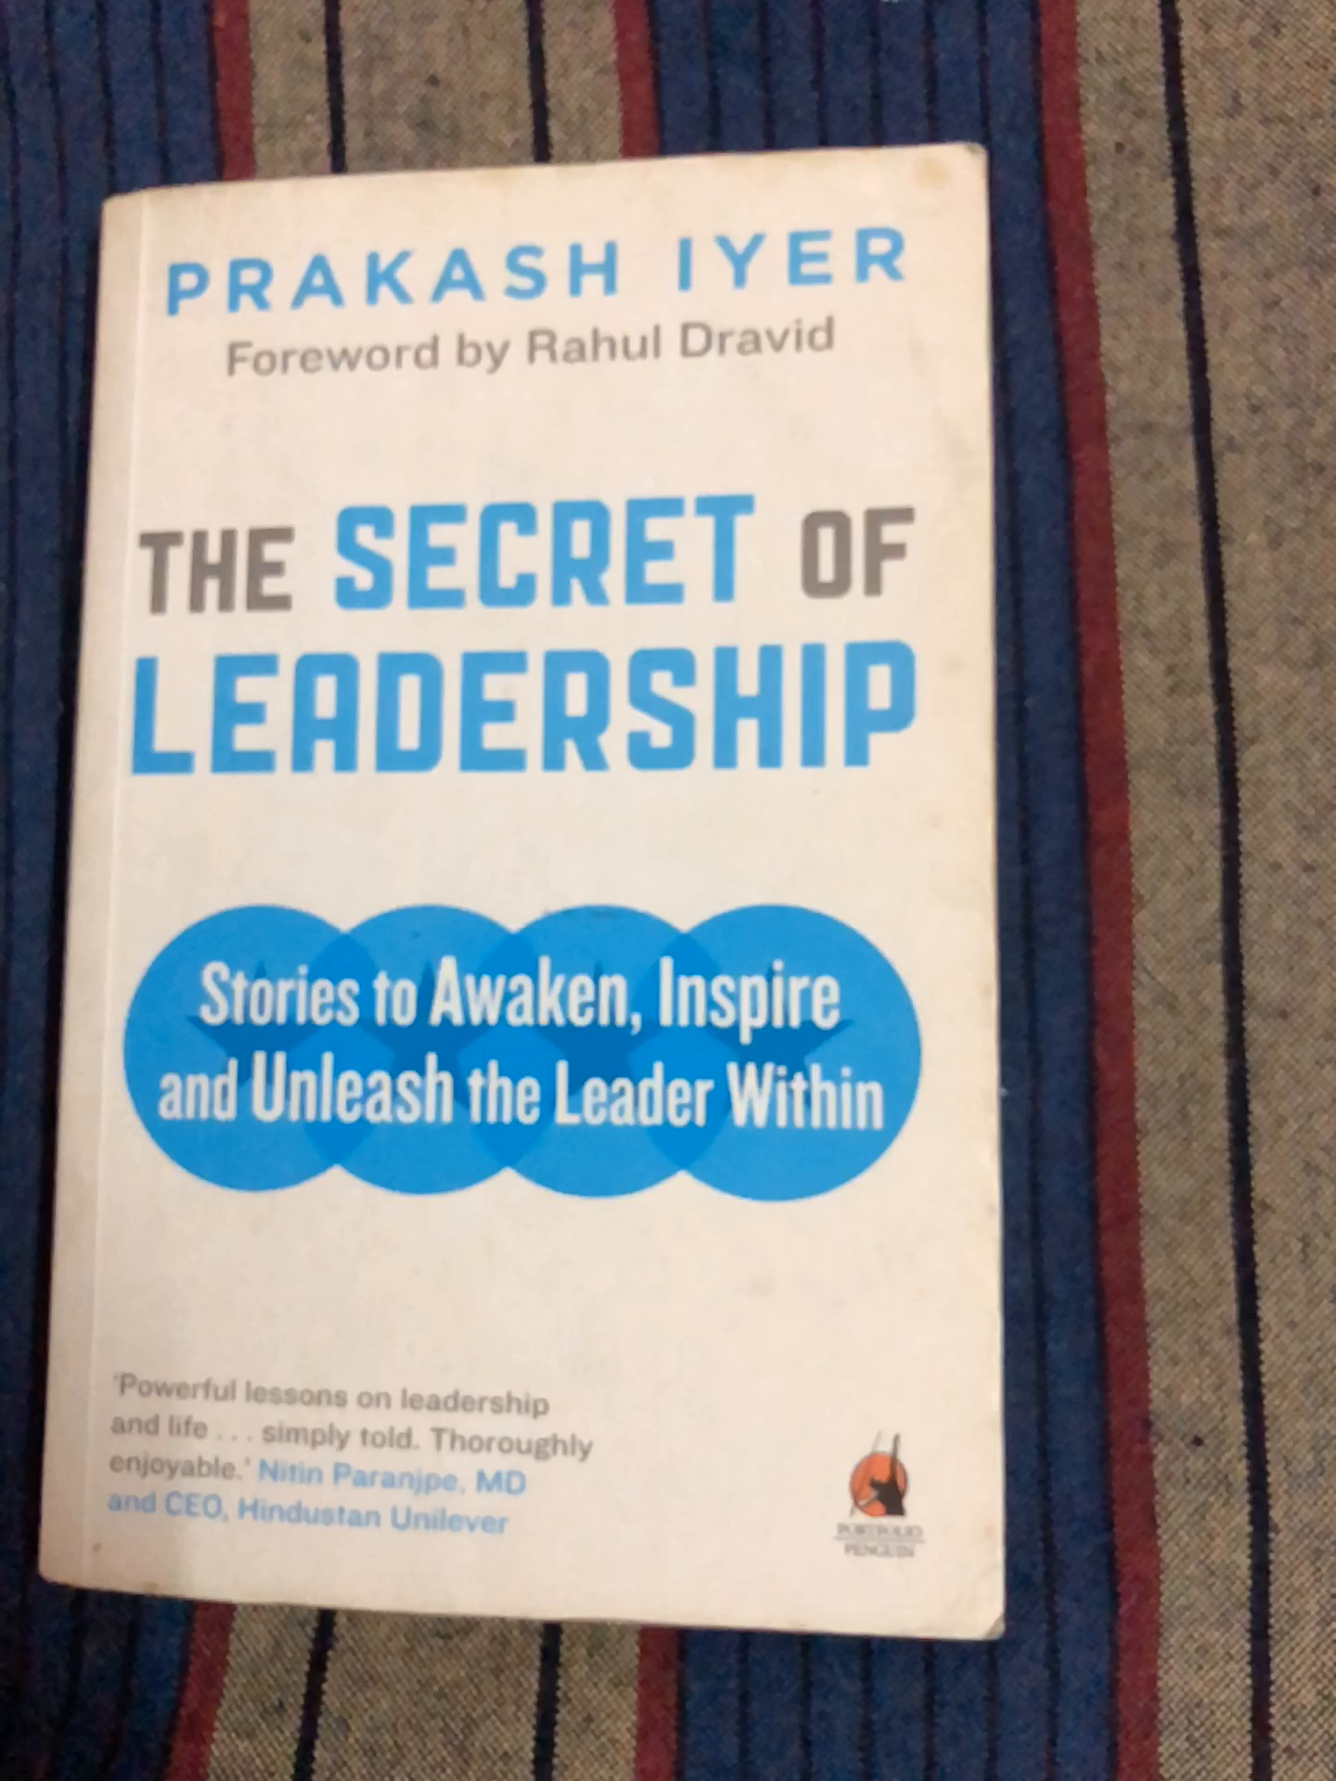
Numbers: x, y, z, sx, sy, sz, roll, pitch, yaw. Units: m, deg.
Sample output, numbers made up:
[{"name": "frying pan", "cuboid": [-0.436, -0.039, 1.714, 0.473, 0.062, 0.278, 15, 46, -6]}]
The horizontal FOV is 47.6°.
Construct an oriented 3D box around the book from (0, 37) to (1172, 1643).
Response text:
[{"name": "book", "cuboid": [-0.012, -0.010, 0.198, 0.140, 0.030, 0.190, 0, 84, 5]}]
